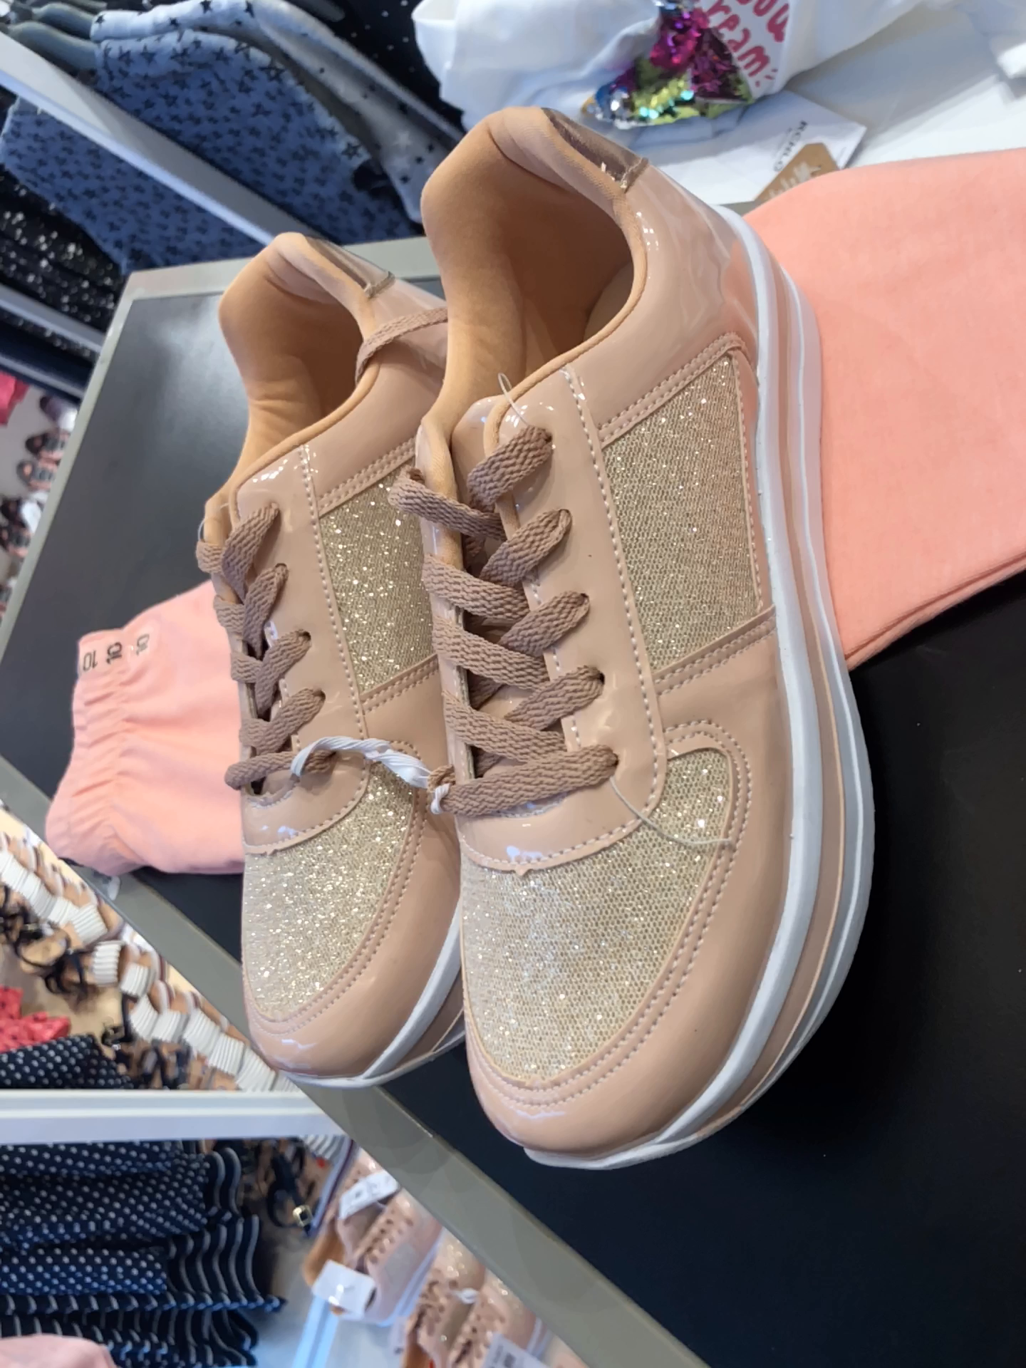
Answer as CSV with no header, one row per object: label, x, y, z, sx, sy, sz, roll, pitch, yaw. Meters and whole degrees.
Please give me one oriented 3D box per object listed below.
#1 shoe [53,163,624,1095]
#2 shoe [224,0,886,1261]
shoe,-0.041,-0.006,0.320,0.090,0.099,0.220,-11,68,44
shoe,0.016,-0.009,0.249,0.090,0.089,0.220,-11,68,44
